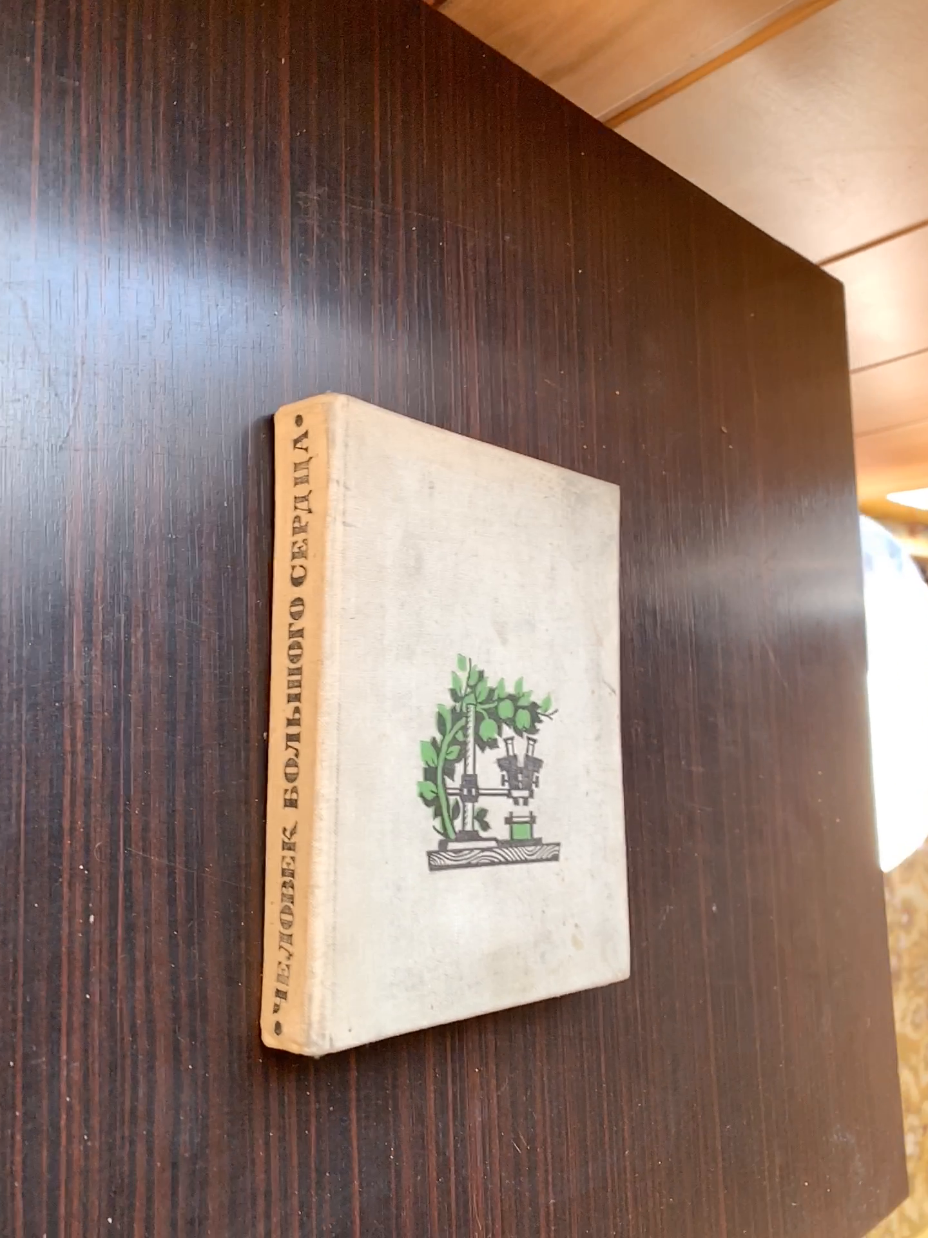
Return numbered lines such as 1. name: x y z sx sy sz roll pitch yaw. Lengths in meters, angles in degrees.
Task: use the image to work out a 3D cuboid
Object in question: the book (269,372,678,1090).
1. book: 0.010 0.029 0.284 0.136 0.027 0.169 7 79 -44
